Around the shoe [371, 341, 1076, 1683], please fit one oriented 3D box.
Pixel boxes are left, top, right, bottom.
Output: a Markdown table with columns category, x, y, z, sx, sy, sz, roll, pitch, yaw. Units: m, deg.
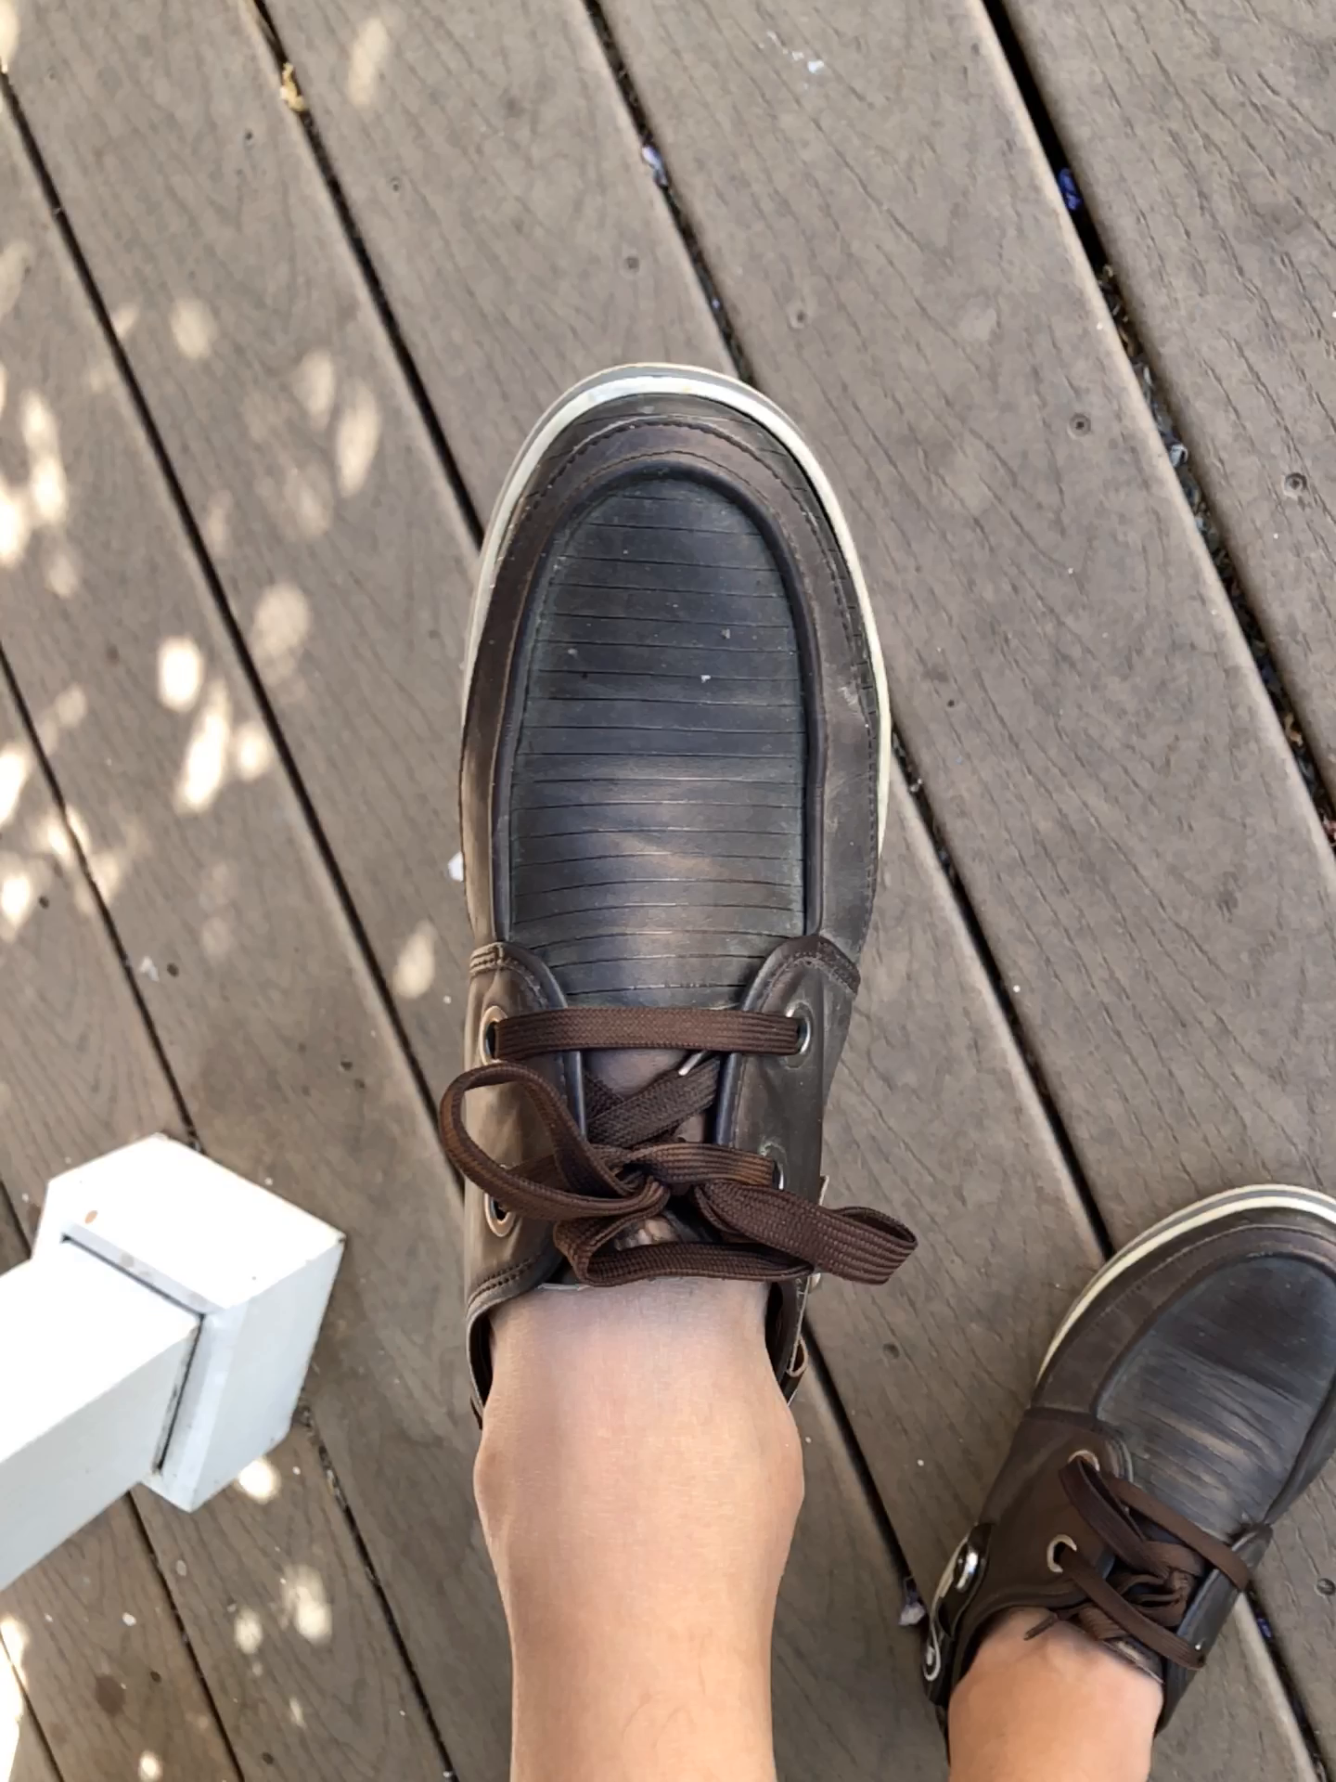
| category | x | y | z | sx | sy | sz | roll | pitch | yaw |
| --- | --- | --- | --- | --- | --- | --- | --- | --- | --- |
| shoe | 0.001 | 0.032 | 0.352 | 0.118 | 0.104 | 0.295 | 4 | 112 | 0 |
